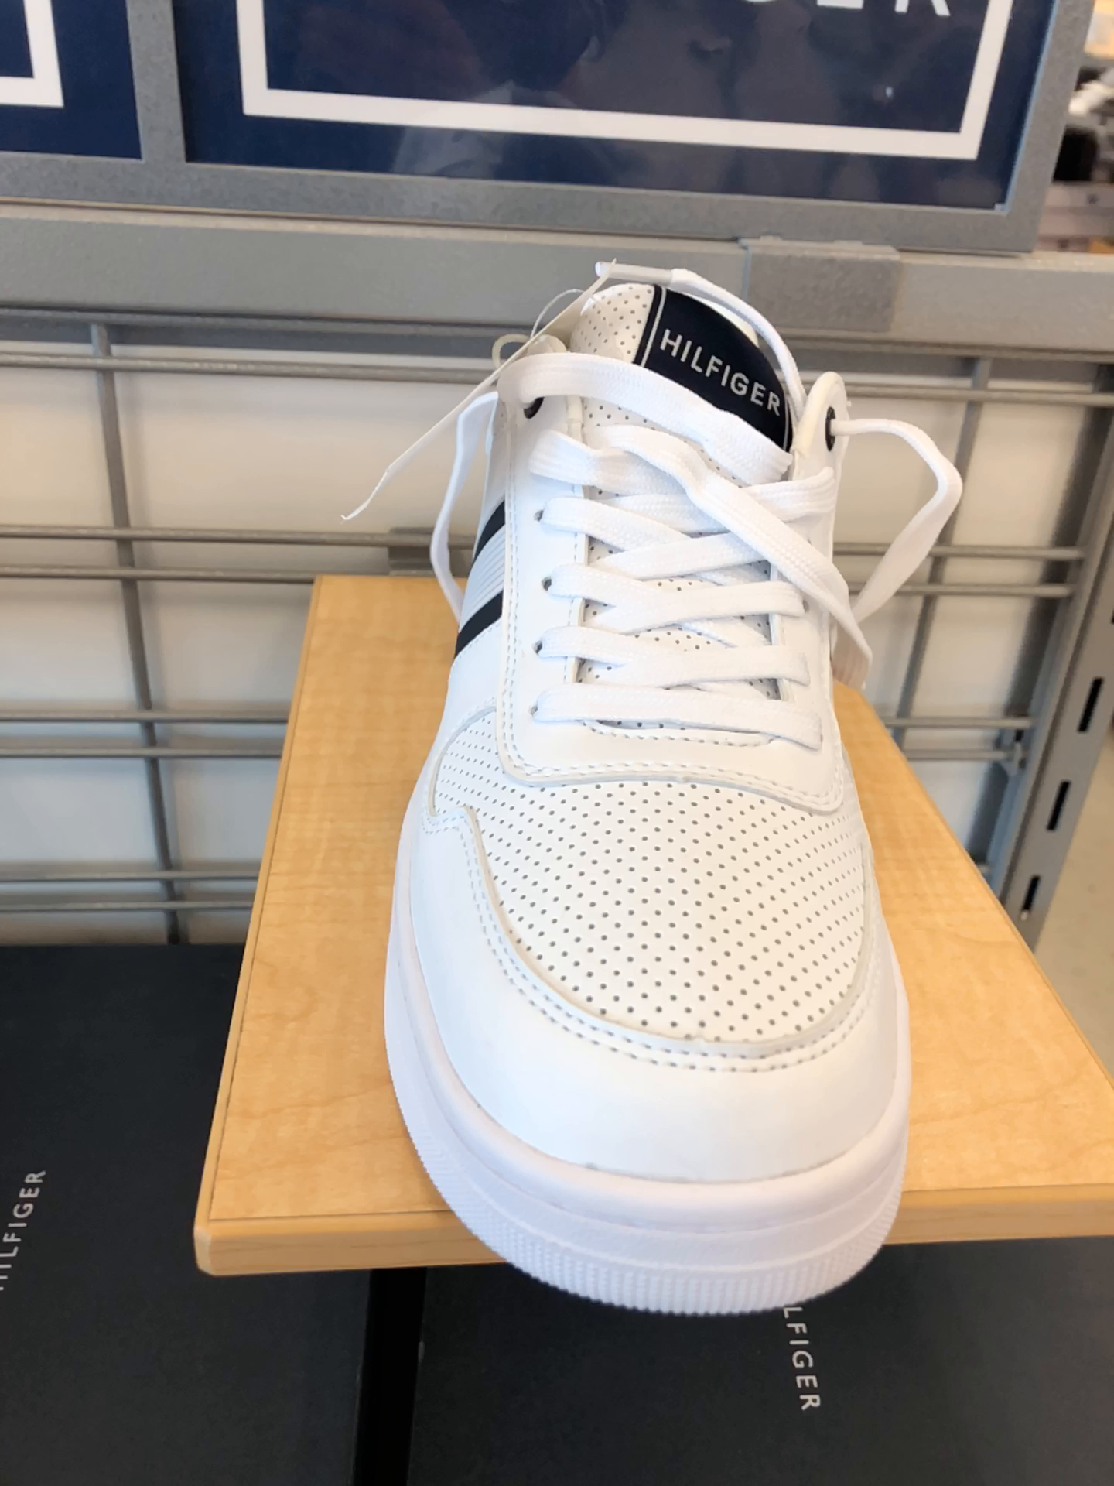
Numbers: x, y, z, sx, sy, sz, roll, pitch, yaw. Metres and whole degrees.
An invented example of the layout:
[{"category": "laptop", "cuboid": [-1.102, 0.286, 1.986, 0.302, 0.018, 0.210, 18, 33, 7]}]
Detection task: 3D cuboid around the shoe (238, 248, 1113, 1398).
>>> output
[{"category": "shoe", "cuboid": [0.018, -0.025, 0.278, 0.107, 0.113, 0.282, 3, 30, -1]}]
